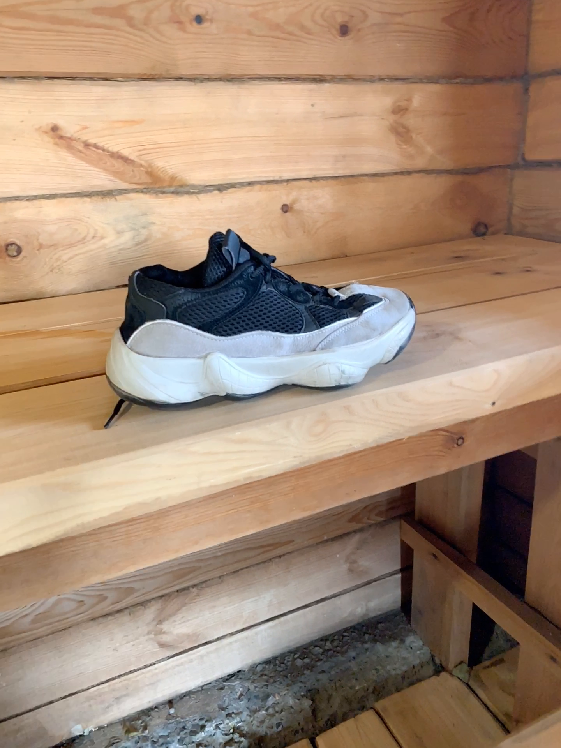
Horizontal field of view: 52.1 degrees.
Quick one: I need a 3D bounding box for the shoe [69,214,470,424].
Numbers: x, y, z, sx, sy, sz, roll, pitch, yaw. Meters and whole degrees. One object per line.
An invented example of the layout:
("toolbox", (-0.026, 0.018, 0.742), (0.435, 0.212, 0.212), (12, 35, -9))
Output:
("shoe", (-0.009, -0.056, 0.448), (0.270, 0.109, 0.121), (-7, 21, -13))
